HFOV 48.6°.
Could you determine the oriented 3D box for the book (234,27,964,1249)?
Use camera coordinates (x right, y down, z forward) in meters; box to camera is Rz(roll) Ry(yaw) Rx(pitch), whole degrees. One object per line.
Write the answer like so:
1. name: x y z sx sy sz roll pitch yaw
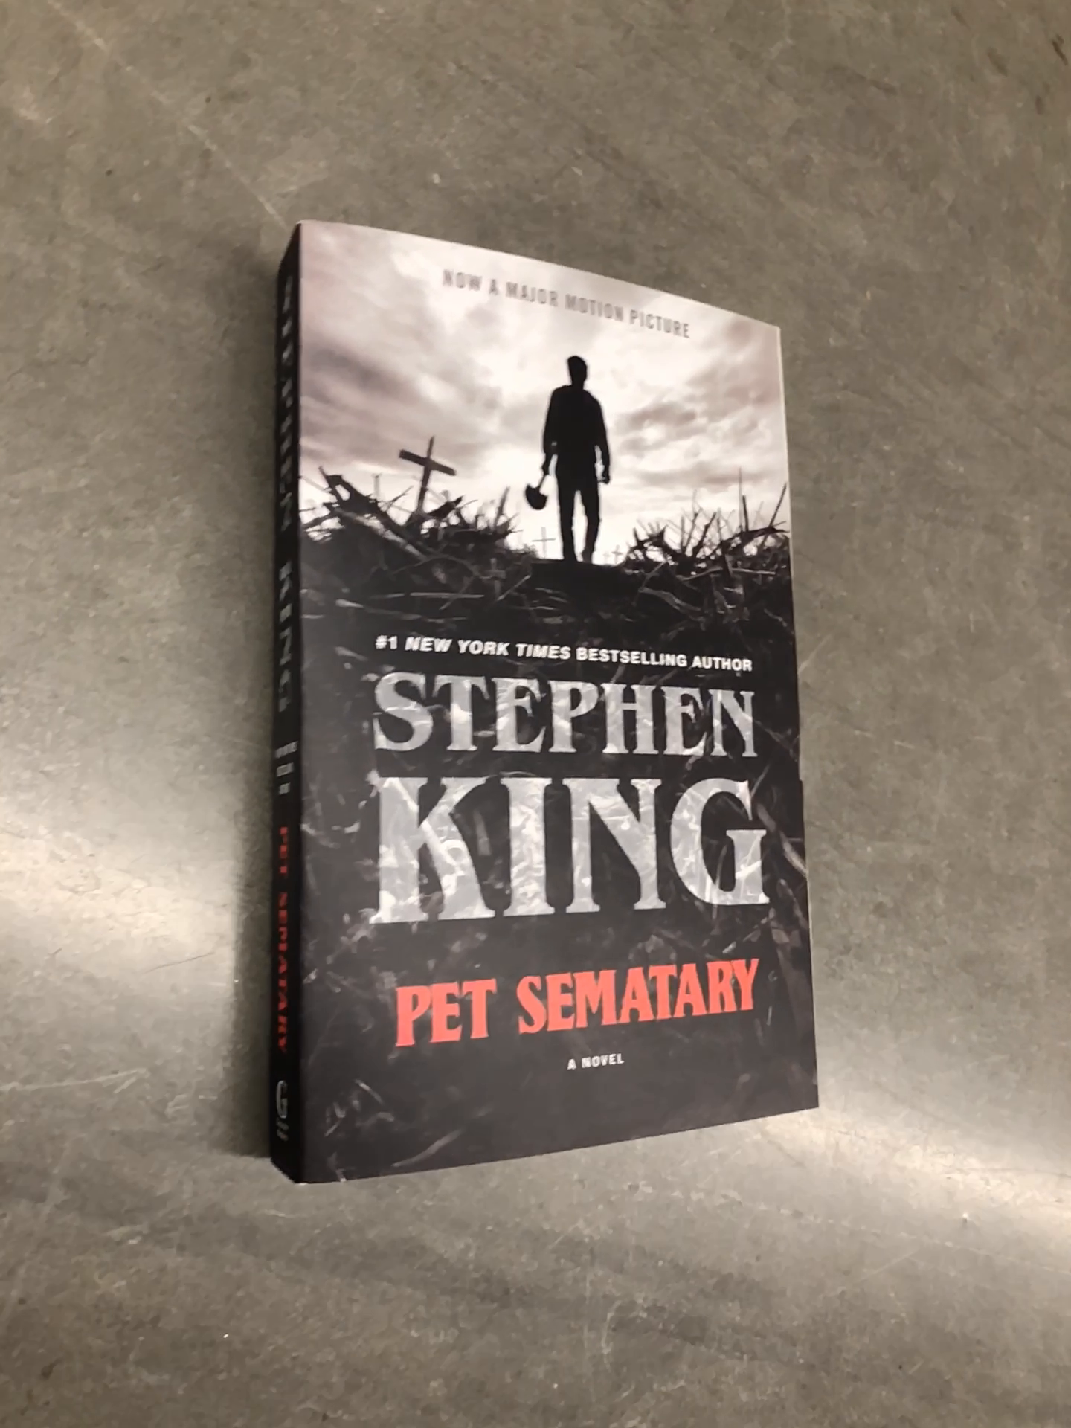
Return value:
1. book: 0.022 -0.012 0.273 0.161 0.050 0.220 4 86 -29
